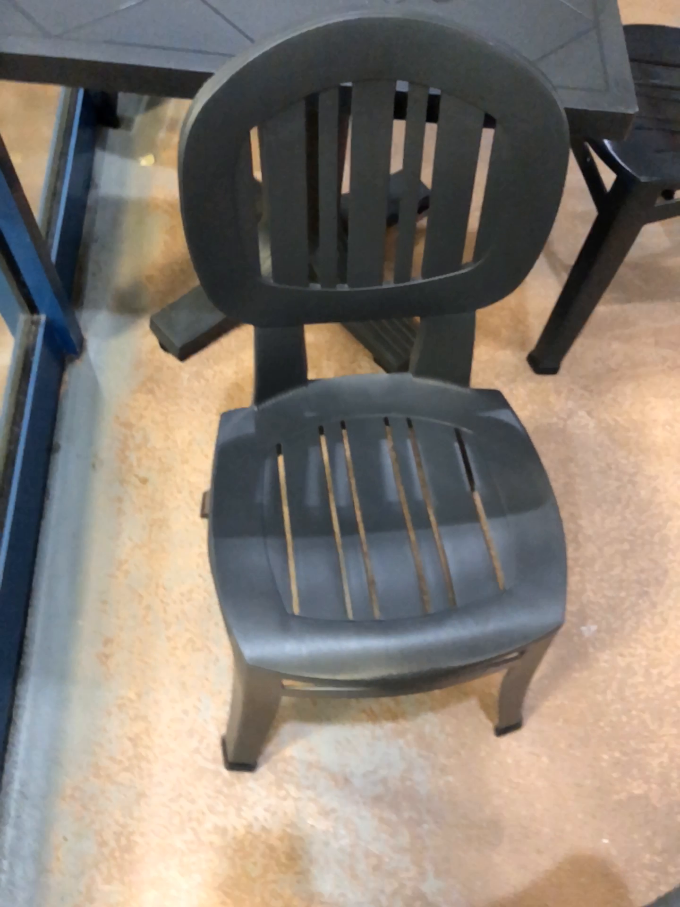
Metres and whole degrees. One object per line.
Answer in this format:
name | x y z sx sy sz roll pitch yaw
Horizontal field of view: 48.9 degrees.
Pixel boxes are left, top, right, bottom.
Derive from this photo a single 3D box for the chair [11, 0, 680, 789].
chair | 0.058 -0.003 0.788 0.500 0.737 0.552 -5 63 -6
